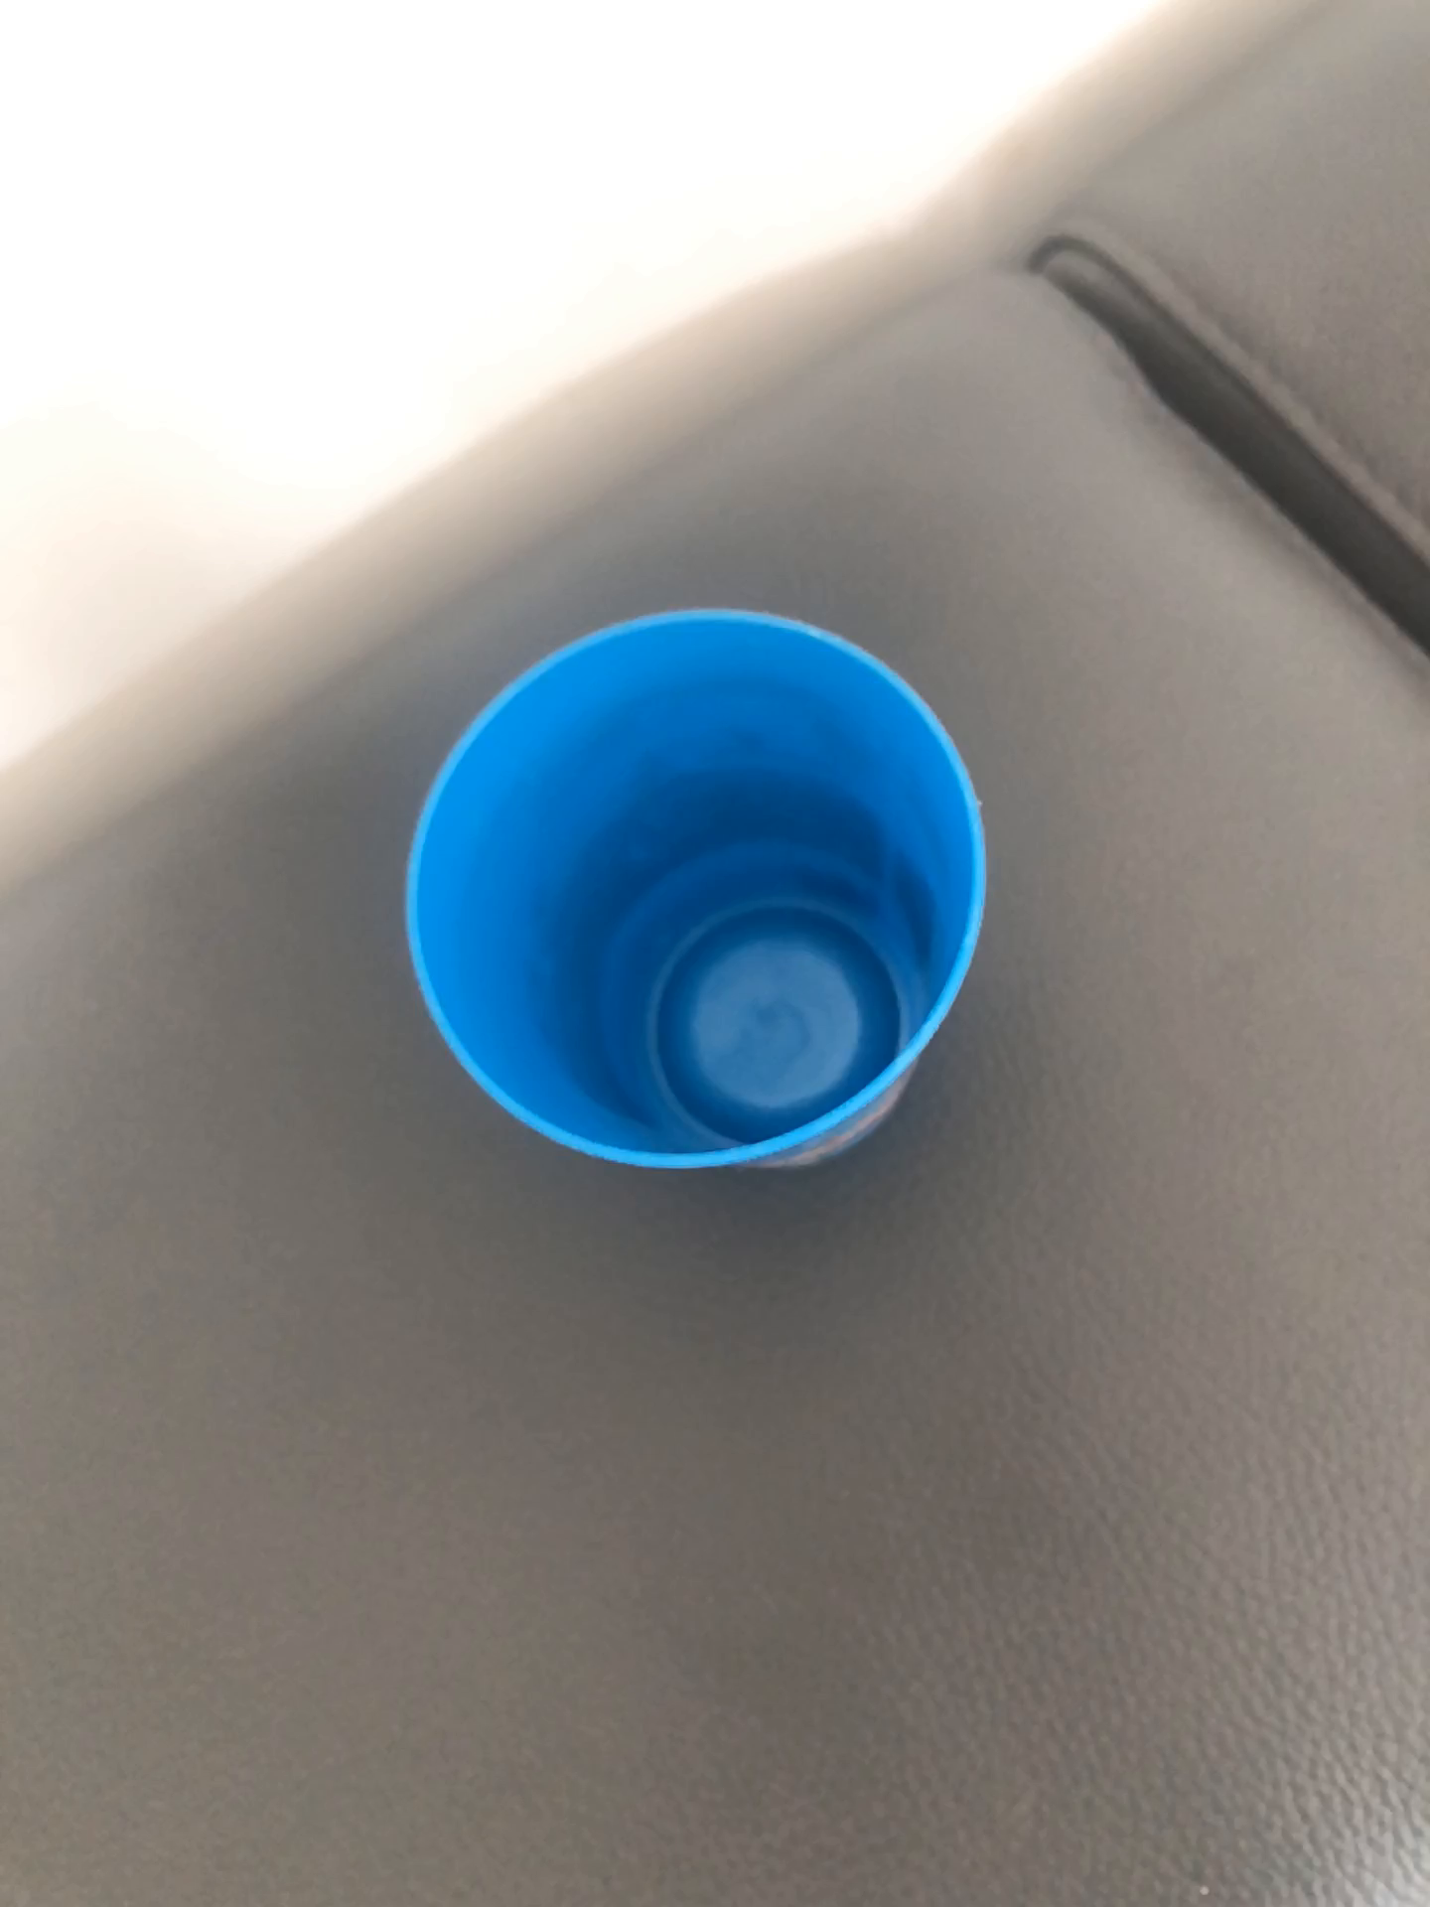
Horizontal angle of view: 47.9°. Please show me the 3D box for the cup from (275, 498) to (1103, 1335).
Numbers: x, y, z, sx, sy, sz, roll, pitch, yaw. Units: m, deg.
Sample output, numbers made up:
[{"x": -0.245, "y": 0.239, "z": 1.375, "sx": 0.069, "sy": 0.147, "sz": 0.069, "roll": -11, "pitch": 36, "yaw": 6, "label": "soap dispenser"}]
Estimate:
[{"x": 0.000, "y": 0.001, "z": 0.258, "sx": 0.080, "sy": 0.090, "sz": 0.080, "roll": -2, "pitch": 74, "yaw": 7, "label": "cup"}]
